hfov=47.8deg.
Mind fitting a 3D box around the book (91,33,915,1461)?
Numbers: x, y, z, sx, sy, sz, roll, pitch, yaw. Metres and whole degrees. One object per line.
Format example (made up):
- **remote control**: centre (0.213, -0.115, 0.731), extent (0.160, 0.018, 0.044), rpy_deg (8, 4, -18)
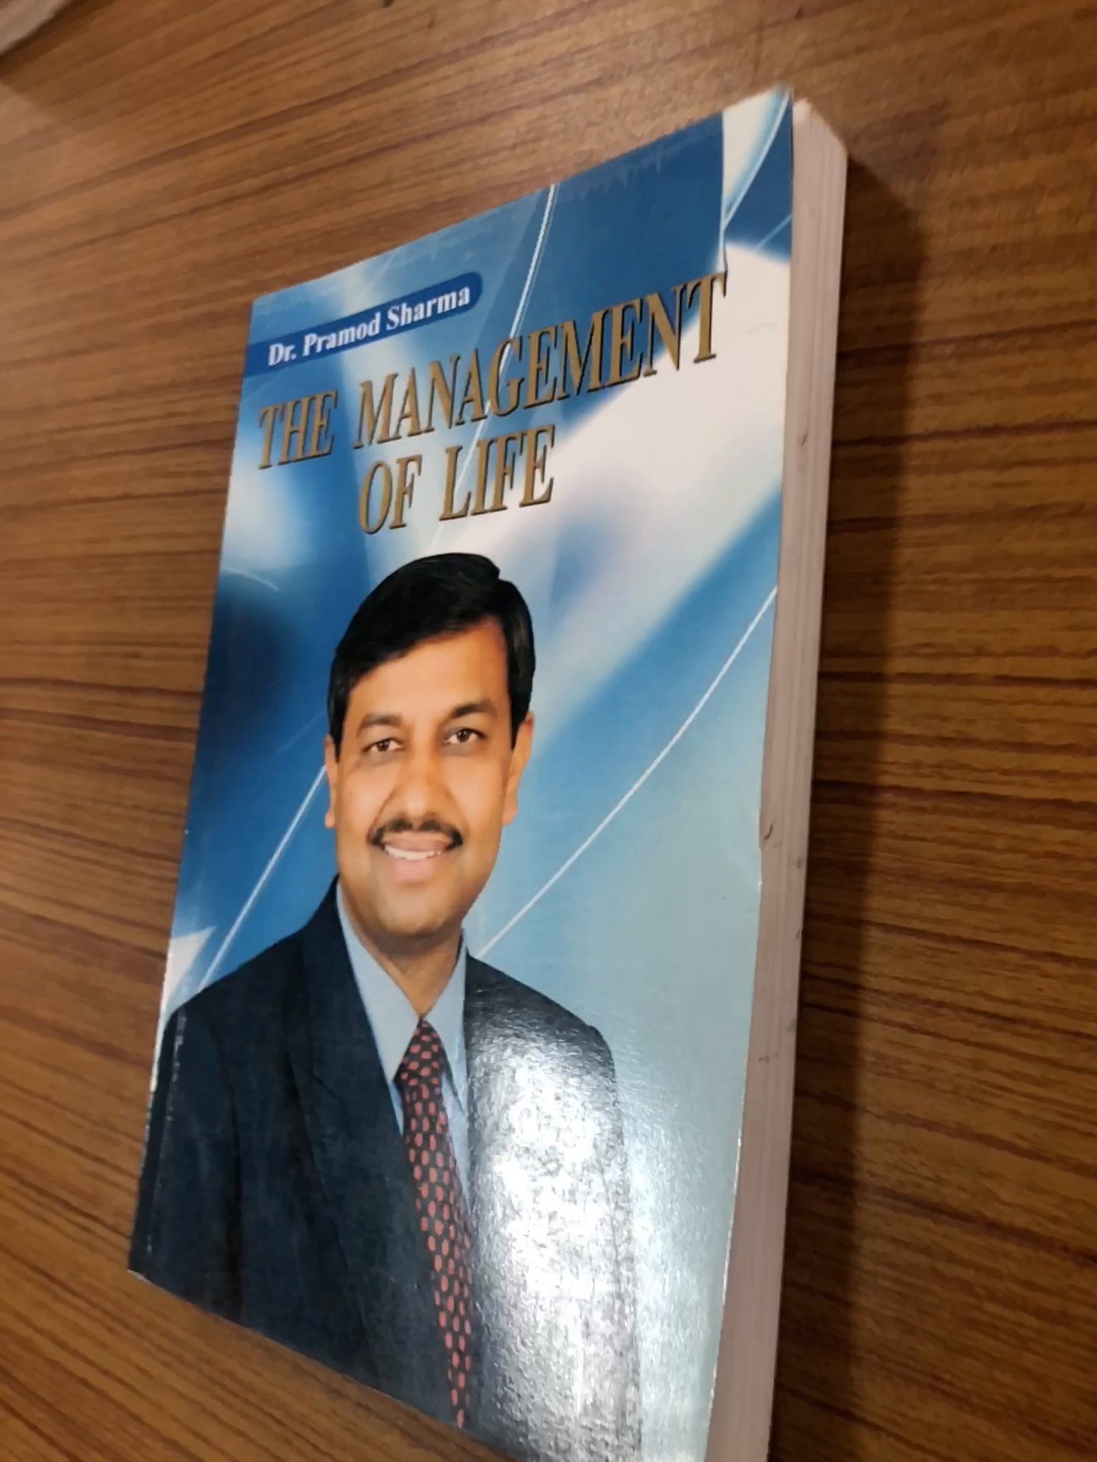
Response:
- **book**: centre (-0.017, 0.010, 0.215), extent (0.151, 0.020, 0.210), rpy_deg (-2, 79, 41)
